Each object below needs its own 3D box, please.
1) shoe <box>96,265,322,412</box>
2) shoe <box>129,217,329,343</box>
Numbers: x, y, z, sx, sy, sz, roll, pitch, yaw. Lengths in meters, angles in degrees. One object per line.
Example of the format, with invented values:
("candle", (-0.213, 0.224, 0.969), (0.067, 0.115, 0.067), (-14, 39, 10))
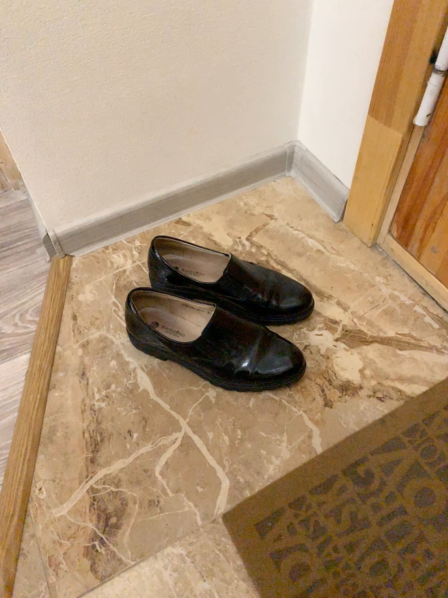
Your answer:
("shoe", (-0.017, 0.049, 0.598), (0.260, 0.100, 0.090), (14, 54, 12))
("shoe", (0.009, -0.029, 0.670), (0.260, 0.100, 0.090), (12, 54, 11))
